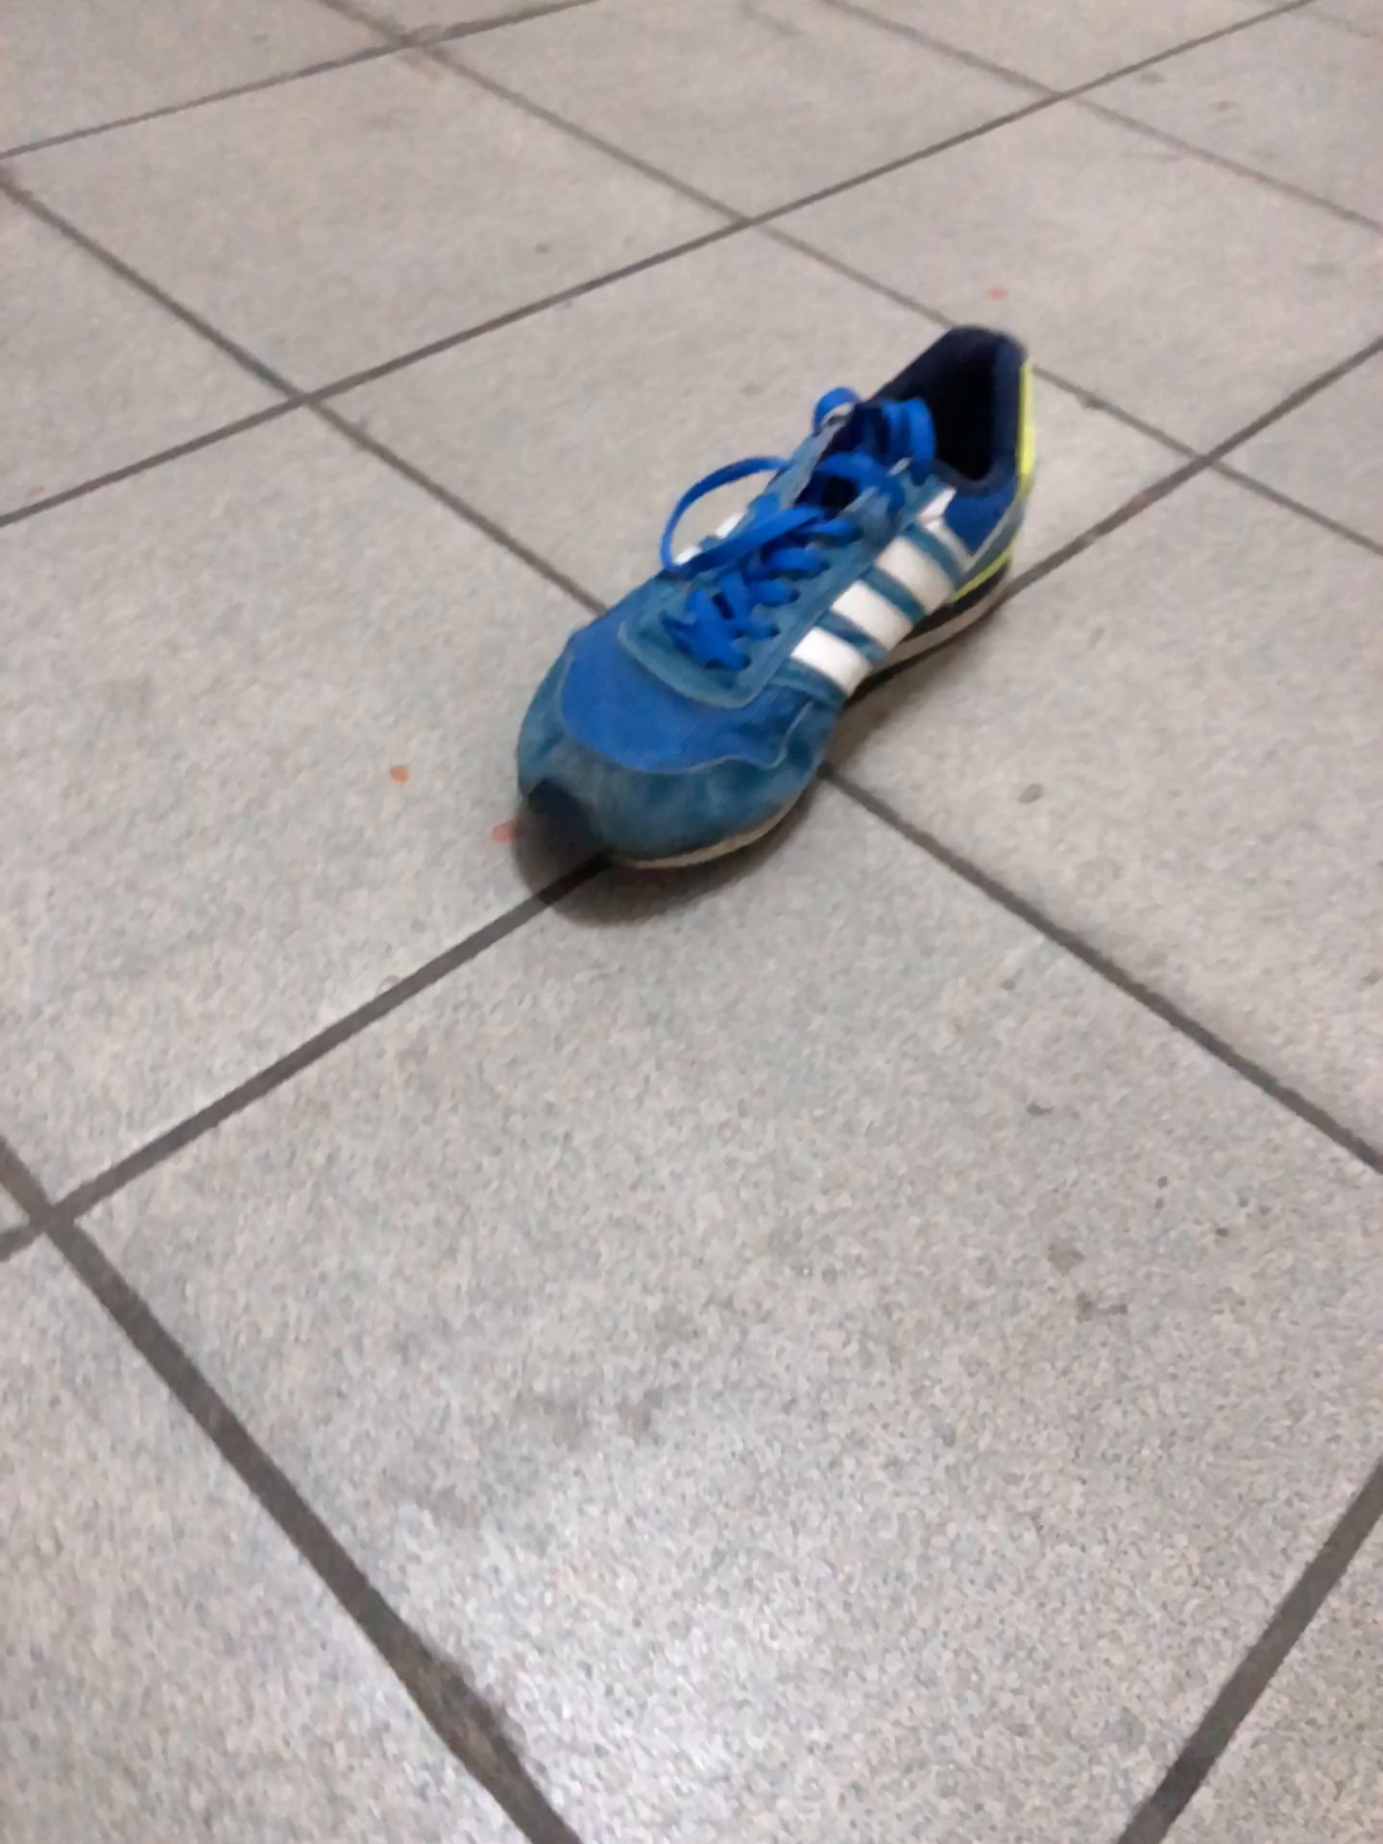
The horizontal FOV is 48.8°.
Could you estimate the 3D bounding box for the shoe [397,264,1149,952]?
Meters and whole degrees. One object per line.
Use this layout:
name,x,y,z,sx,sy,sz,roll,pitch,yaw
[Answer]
shoe,0.040,-0.132,0.571,0.110,0.099,0.293,34,54,22
